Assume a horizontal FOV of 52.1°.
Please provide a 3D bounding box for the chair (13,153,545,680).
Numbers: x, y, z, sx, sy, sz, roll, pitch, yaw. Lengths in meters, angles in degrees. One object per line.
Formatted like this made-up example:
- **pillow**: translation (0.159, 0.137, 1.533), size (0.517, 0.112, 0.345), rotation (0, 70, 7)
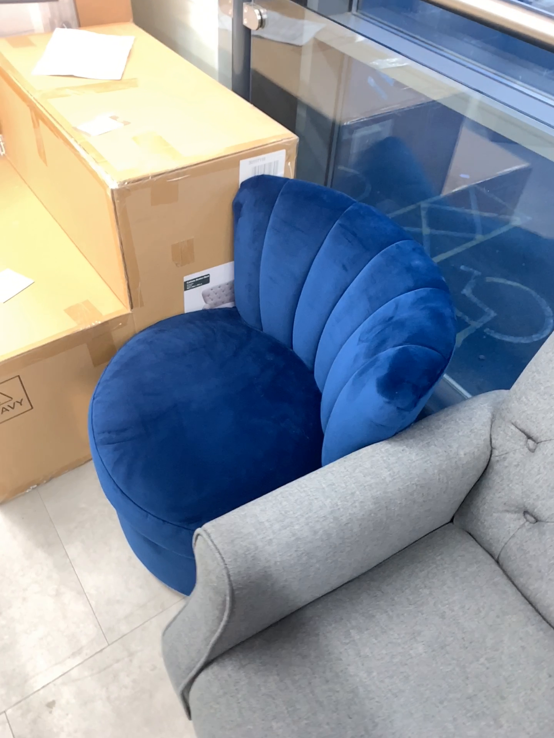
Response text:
- **chair**: translation (-0.053, 0.072, 1.176), size (0.661, 0.674, 0.645), rotation (-18, 51, -20)
